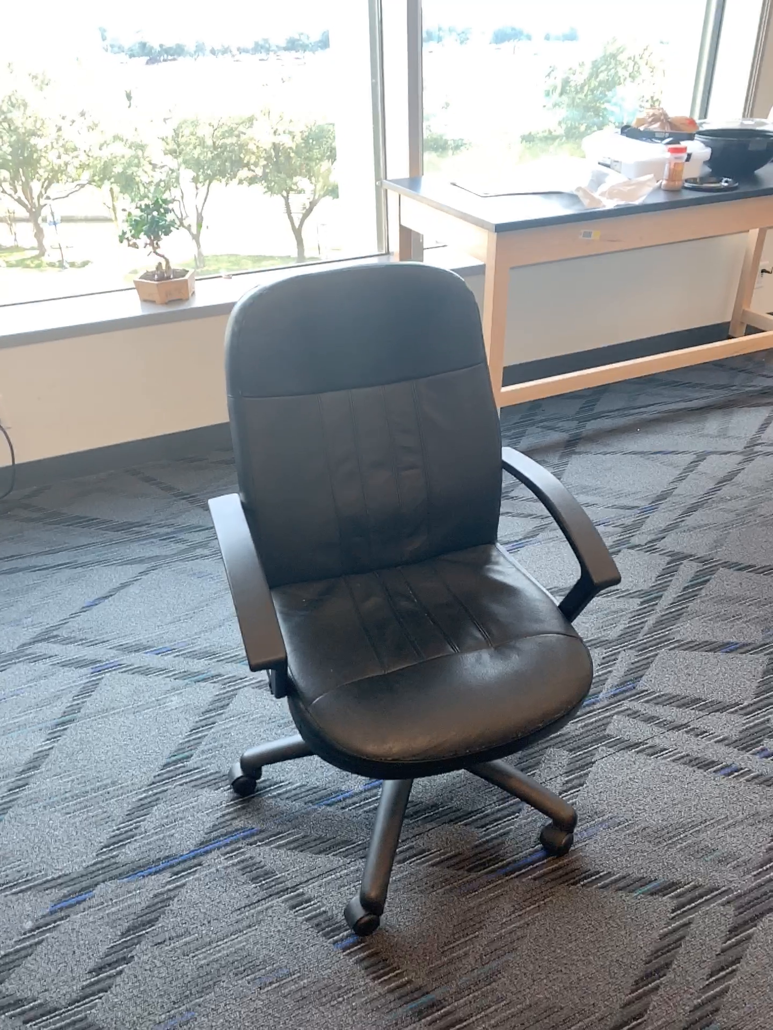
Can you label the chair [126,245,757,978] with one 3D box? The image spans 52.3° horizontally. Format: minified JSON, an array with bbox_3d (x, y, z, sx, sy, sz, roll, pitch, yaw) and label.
[{"bbox_3d":[0.022,0.098,1.377,0.701,0.892,0.695,-12,33,-16],"label":"chair"}]
